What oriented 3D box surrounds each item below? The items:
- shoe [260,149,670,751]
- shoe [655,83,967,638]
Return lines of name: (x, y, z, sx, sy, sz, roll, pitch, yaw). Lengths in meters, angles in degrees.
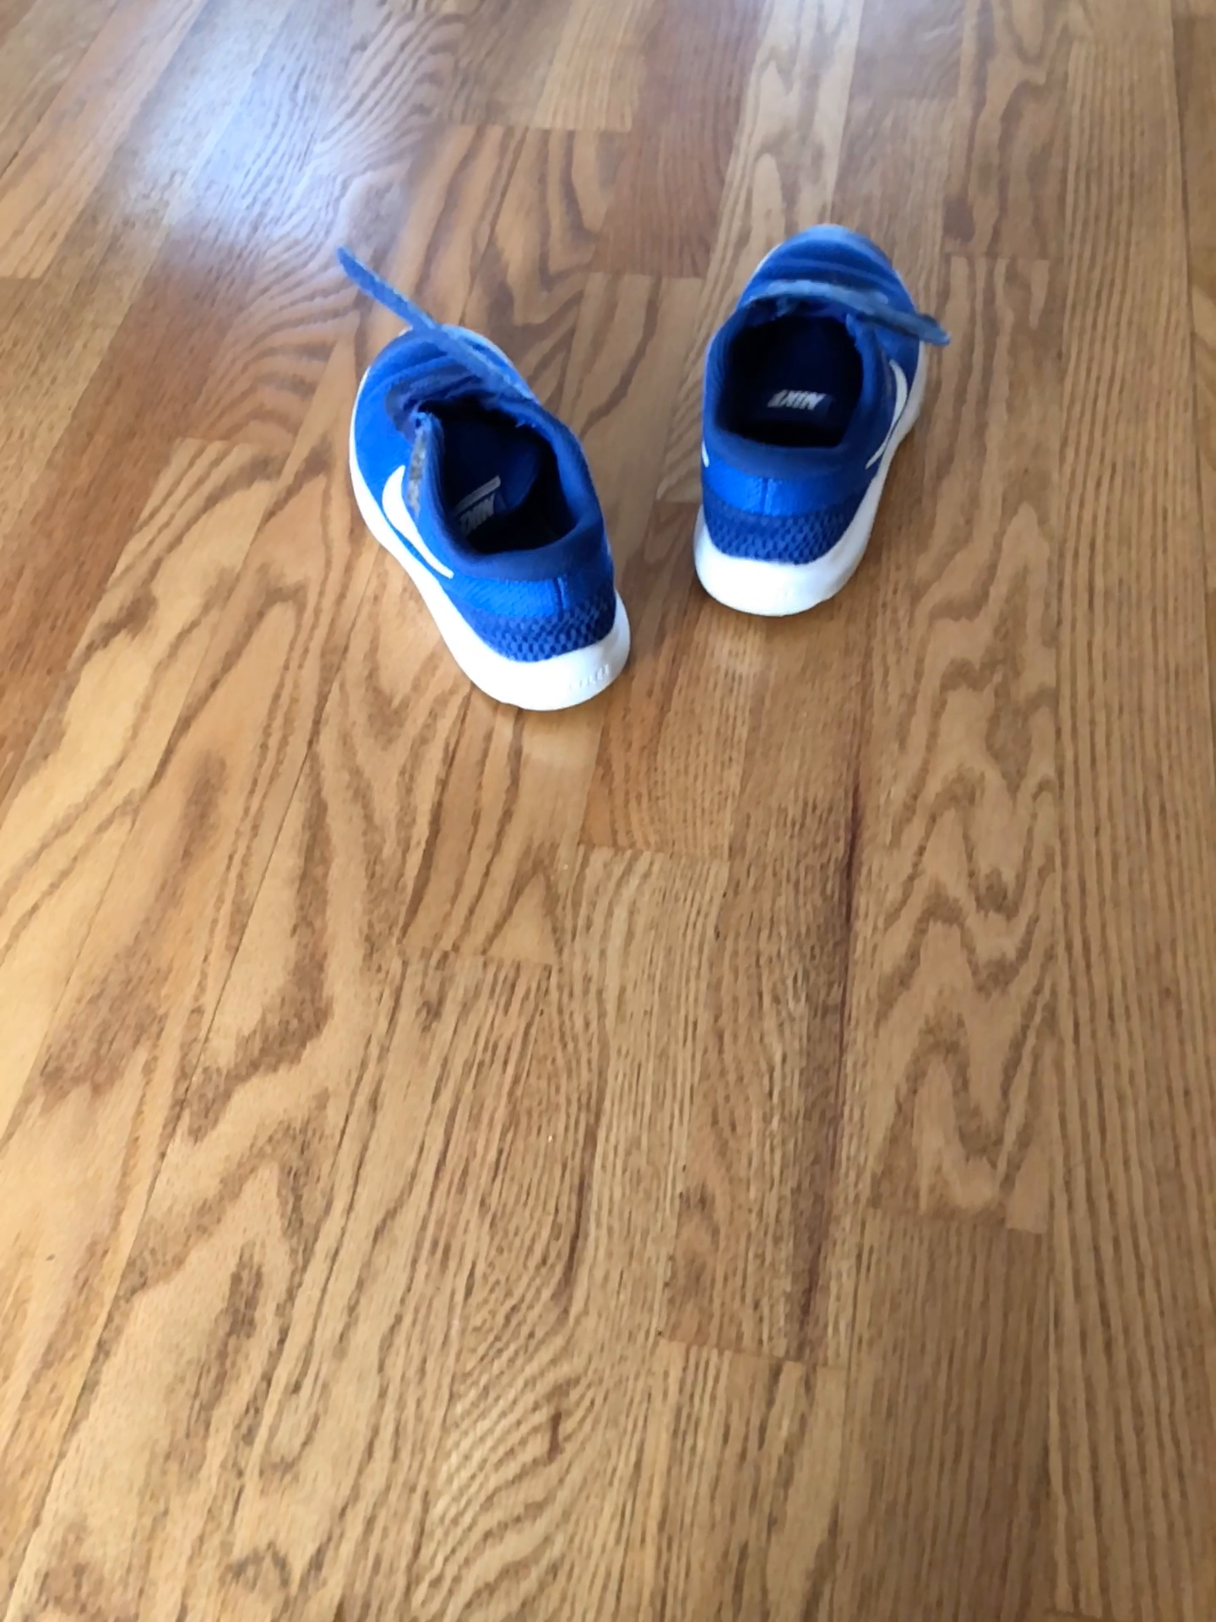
shoe: (-0.058, -0.146, 0.523, 0.093, 0.092, 0.215, -18, 59, -6)
shoe: (0.085, -0.188, 0.545, 0.093, 0.092, 0.215, 8, 59, 9)
